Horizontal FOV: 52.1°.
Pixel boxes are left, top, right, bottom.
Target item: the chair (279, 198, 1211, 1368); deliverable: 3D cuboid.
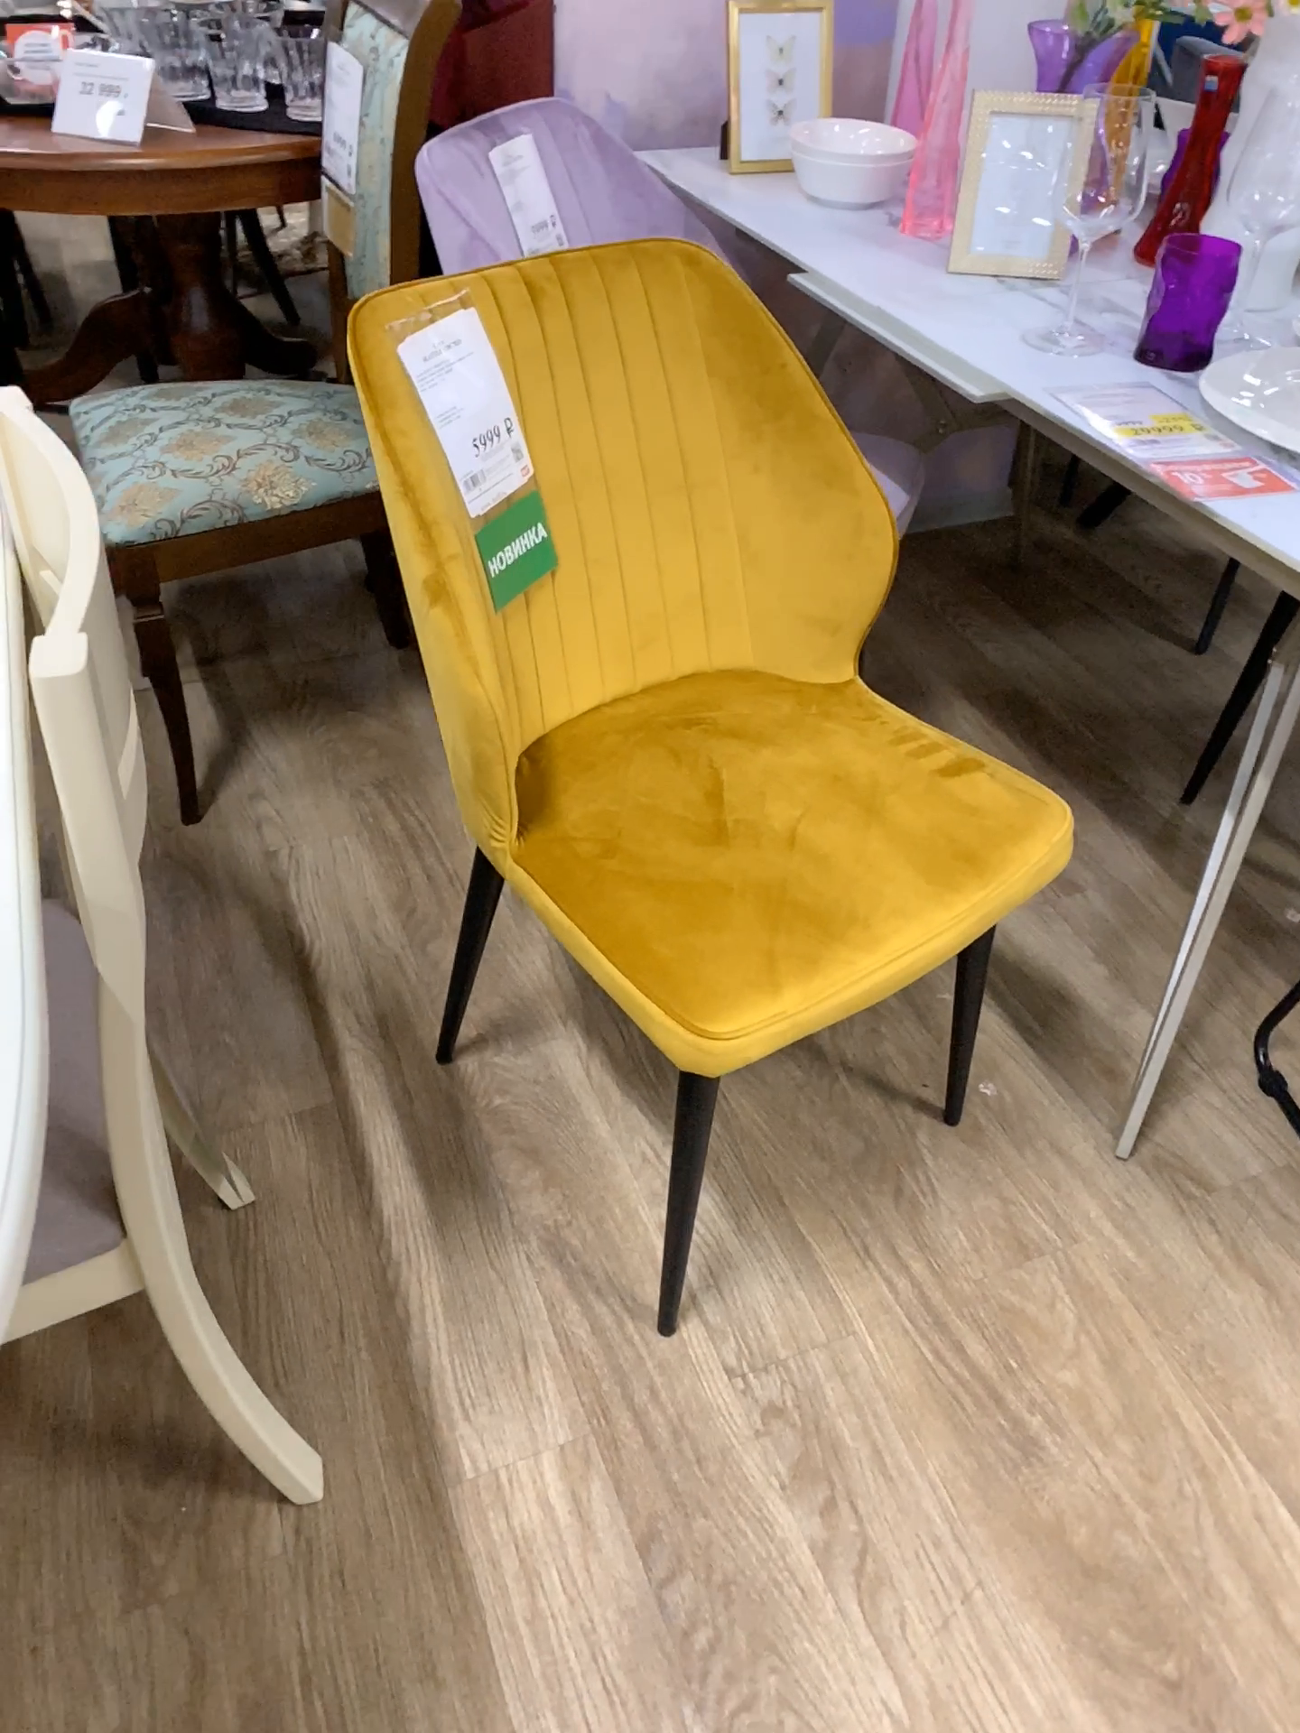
[{"bbox_3d":[0.046,-0.078,1.285,0.502,0.885,0.501,-26,48,-31],"label":"chair"}]
